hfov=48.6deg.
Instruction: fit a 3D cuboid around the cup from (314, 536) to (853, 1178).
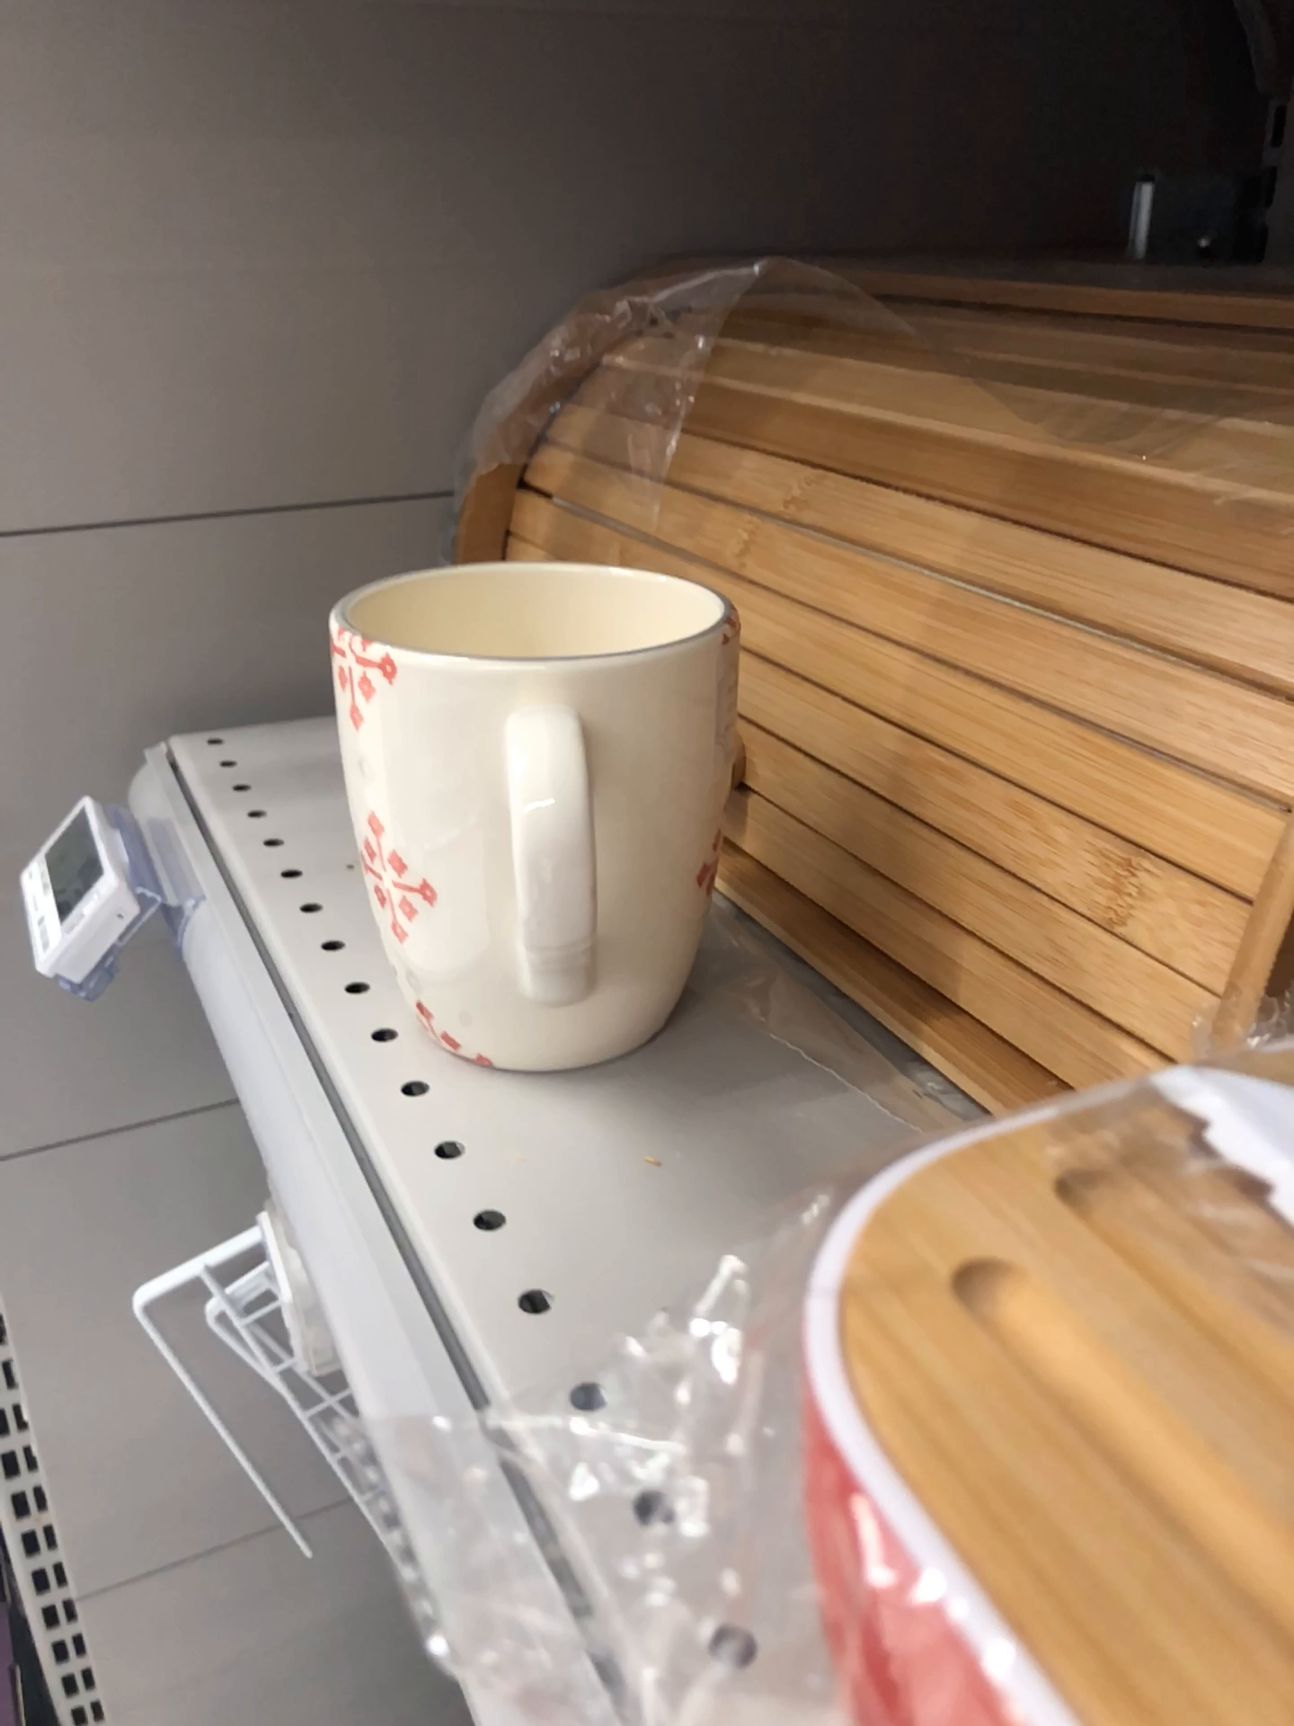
[{"bbox_3d":[-0.019,-0.011,0.311,0.090,0.089,0.125,-4,25,-9],"label":"cup"}]
